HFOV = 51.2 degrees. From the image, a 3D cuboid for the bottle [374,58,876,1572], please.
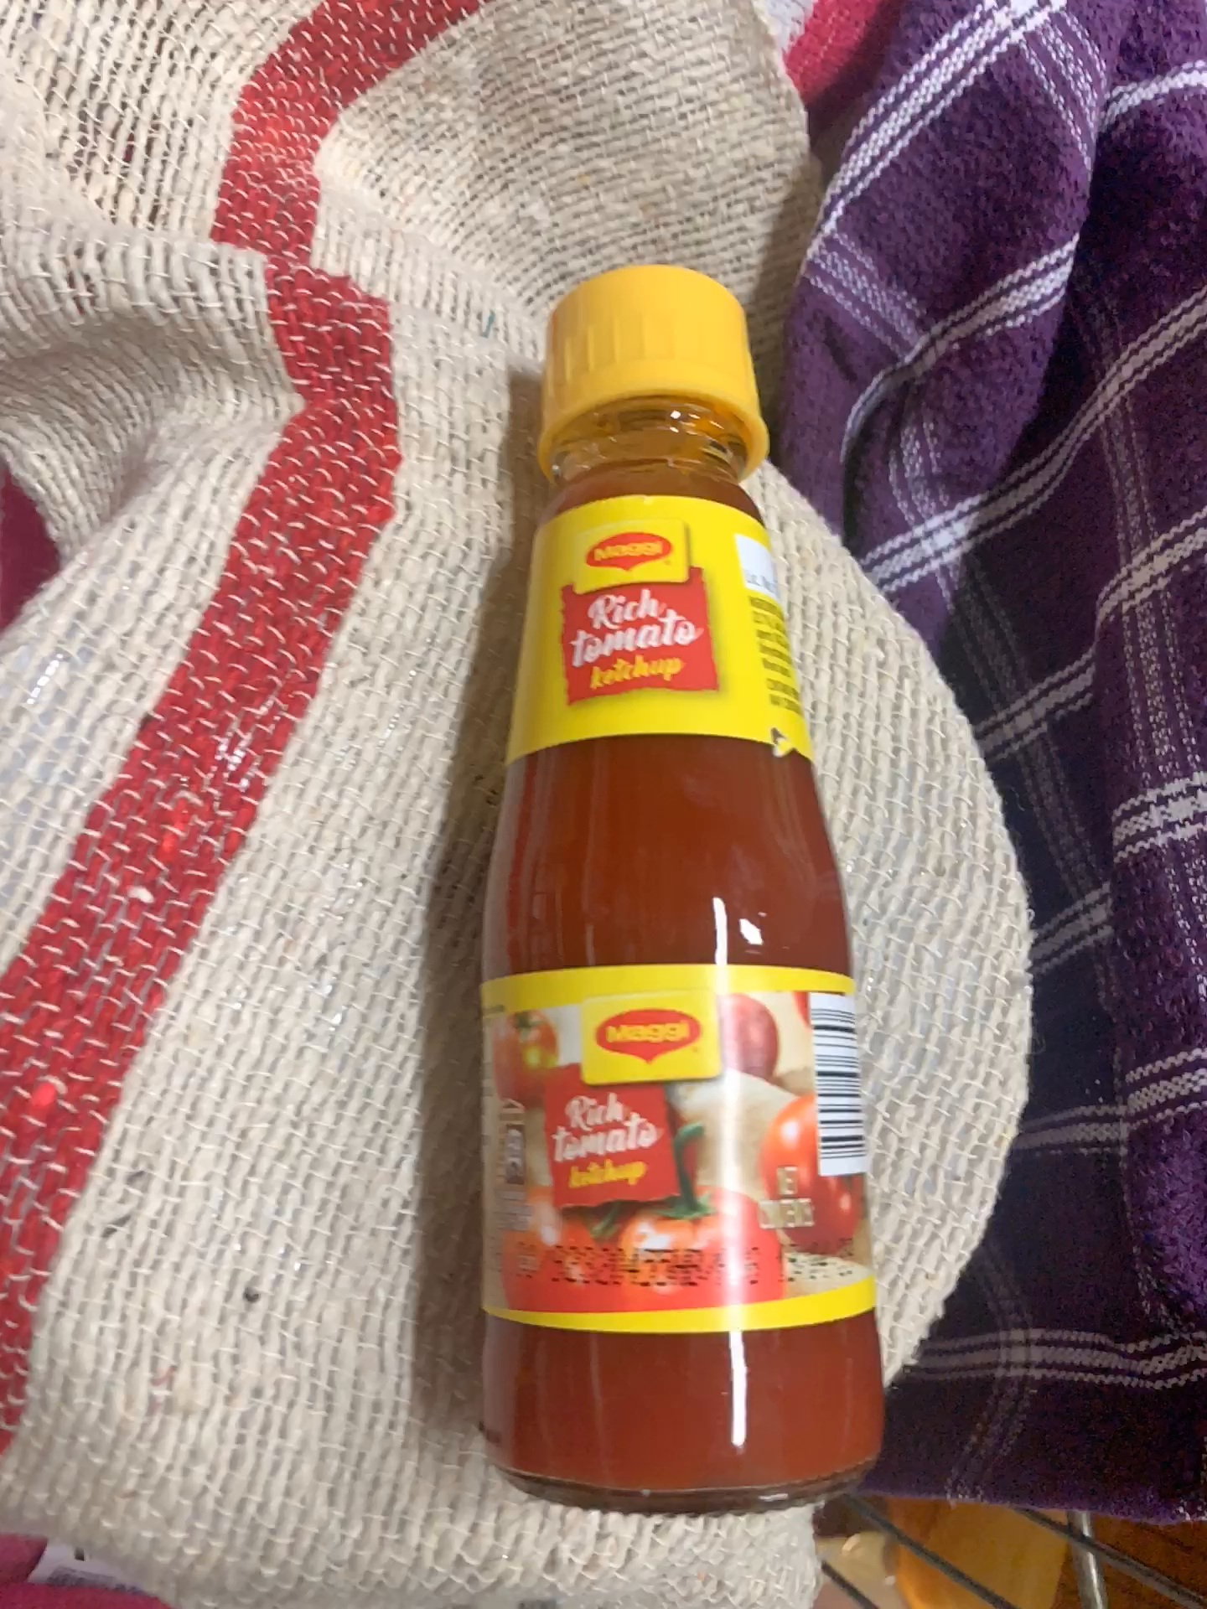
[{"bbox_3d":[0.004,-0.003,0.167,0.050,0.050,0.170,-4,77,11],"label":"bottle"}]
